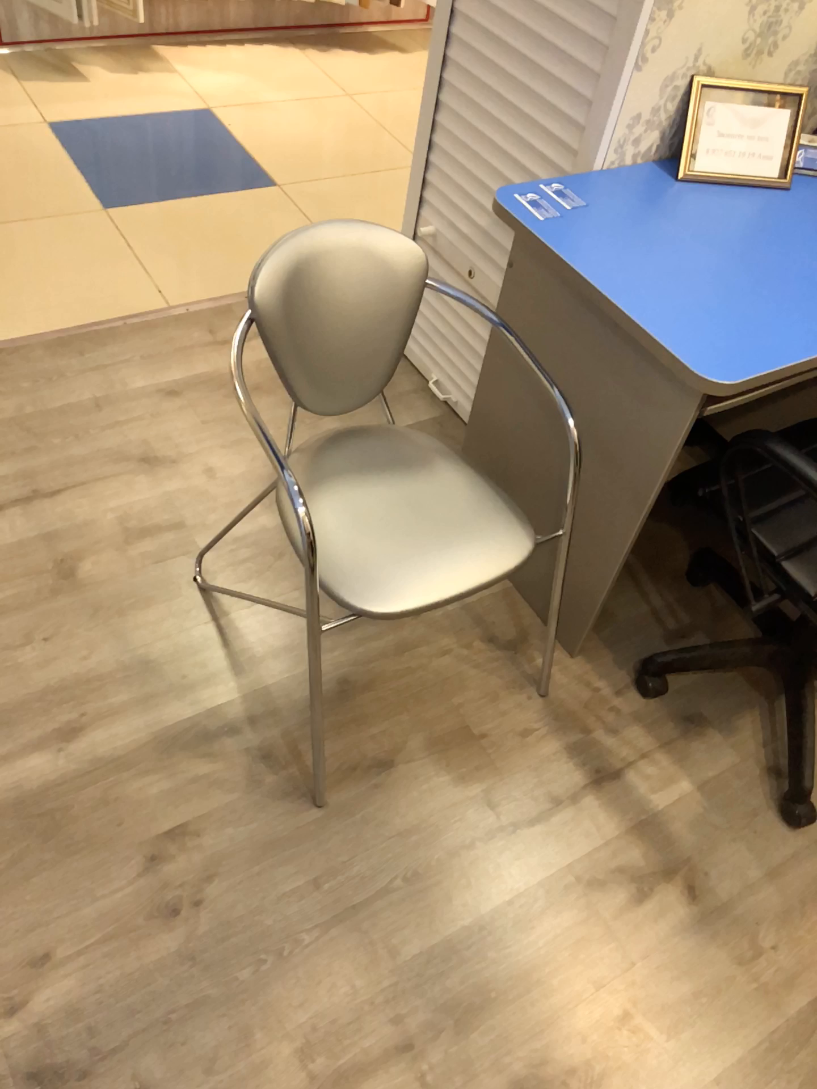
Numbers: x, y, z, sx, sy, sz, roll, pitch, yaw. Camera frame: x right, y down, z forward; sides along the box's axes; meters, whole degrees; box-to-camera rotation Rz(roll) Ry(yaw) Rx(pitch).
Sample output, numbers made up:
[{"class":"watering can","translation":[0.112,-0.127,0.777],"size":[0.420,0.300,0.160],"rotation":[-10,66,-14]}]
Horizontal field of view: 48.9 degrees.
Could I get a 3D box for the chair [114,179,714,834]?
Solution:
[{"class":"chair","translation":[-0.061,-0.088,1.620],"size":[0.611,0.747,0.732],"rotation":[-21,55,-27]}]
